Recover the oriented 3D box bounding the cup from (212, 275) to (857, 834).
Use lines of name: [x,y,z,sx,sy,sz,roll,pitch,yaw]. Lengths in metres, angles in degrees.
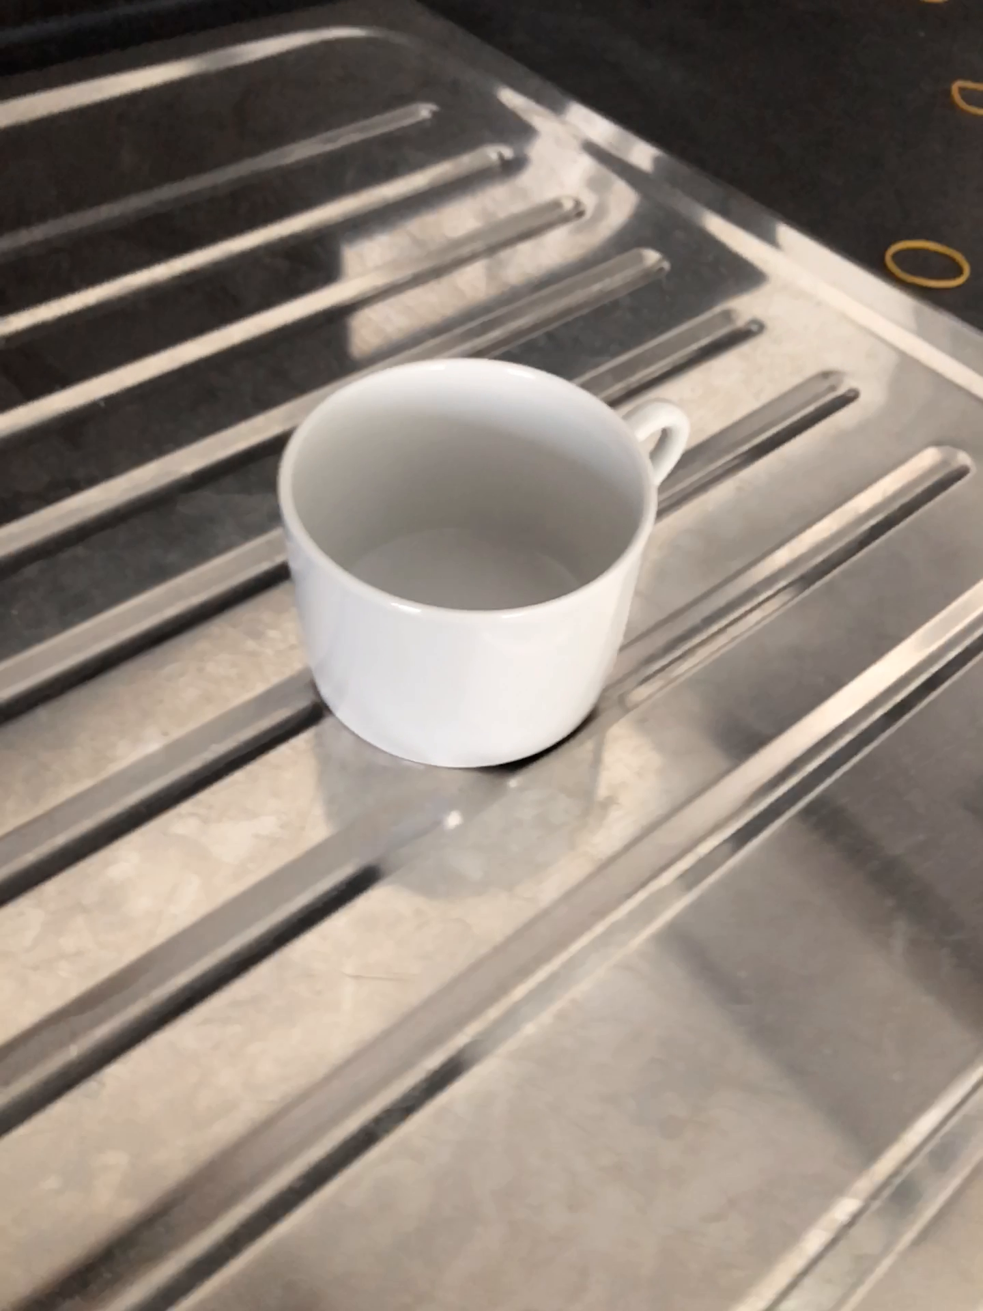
cup: [0.007,-0.028,0.253,0.110,0.060,0.080,-23,56,-23]
